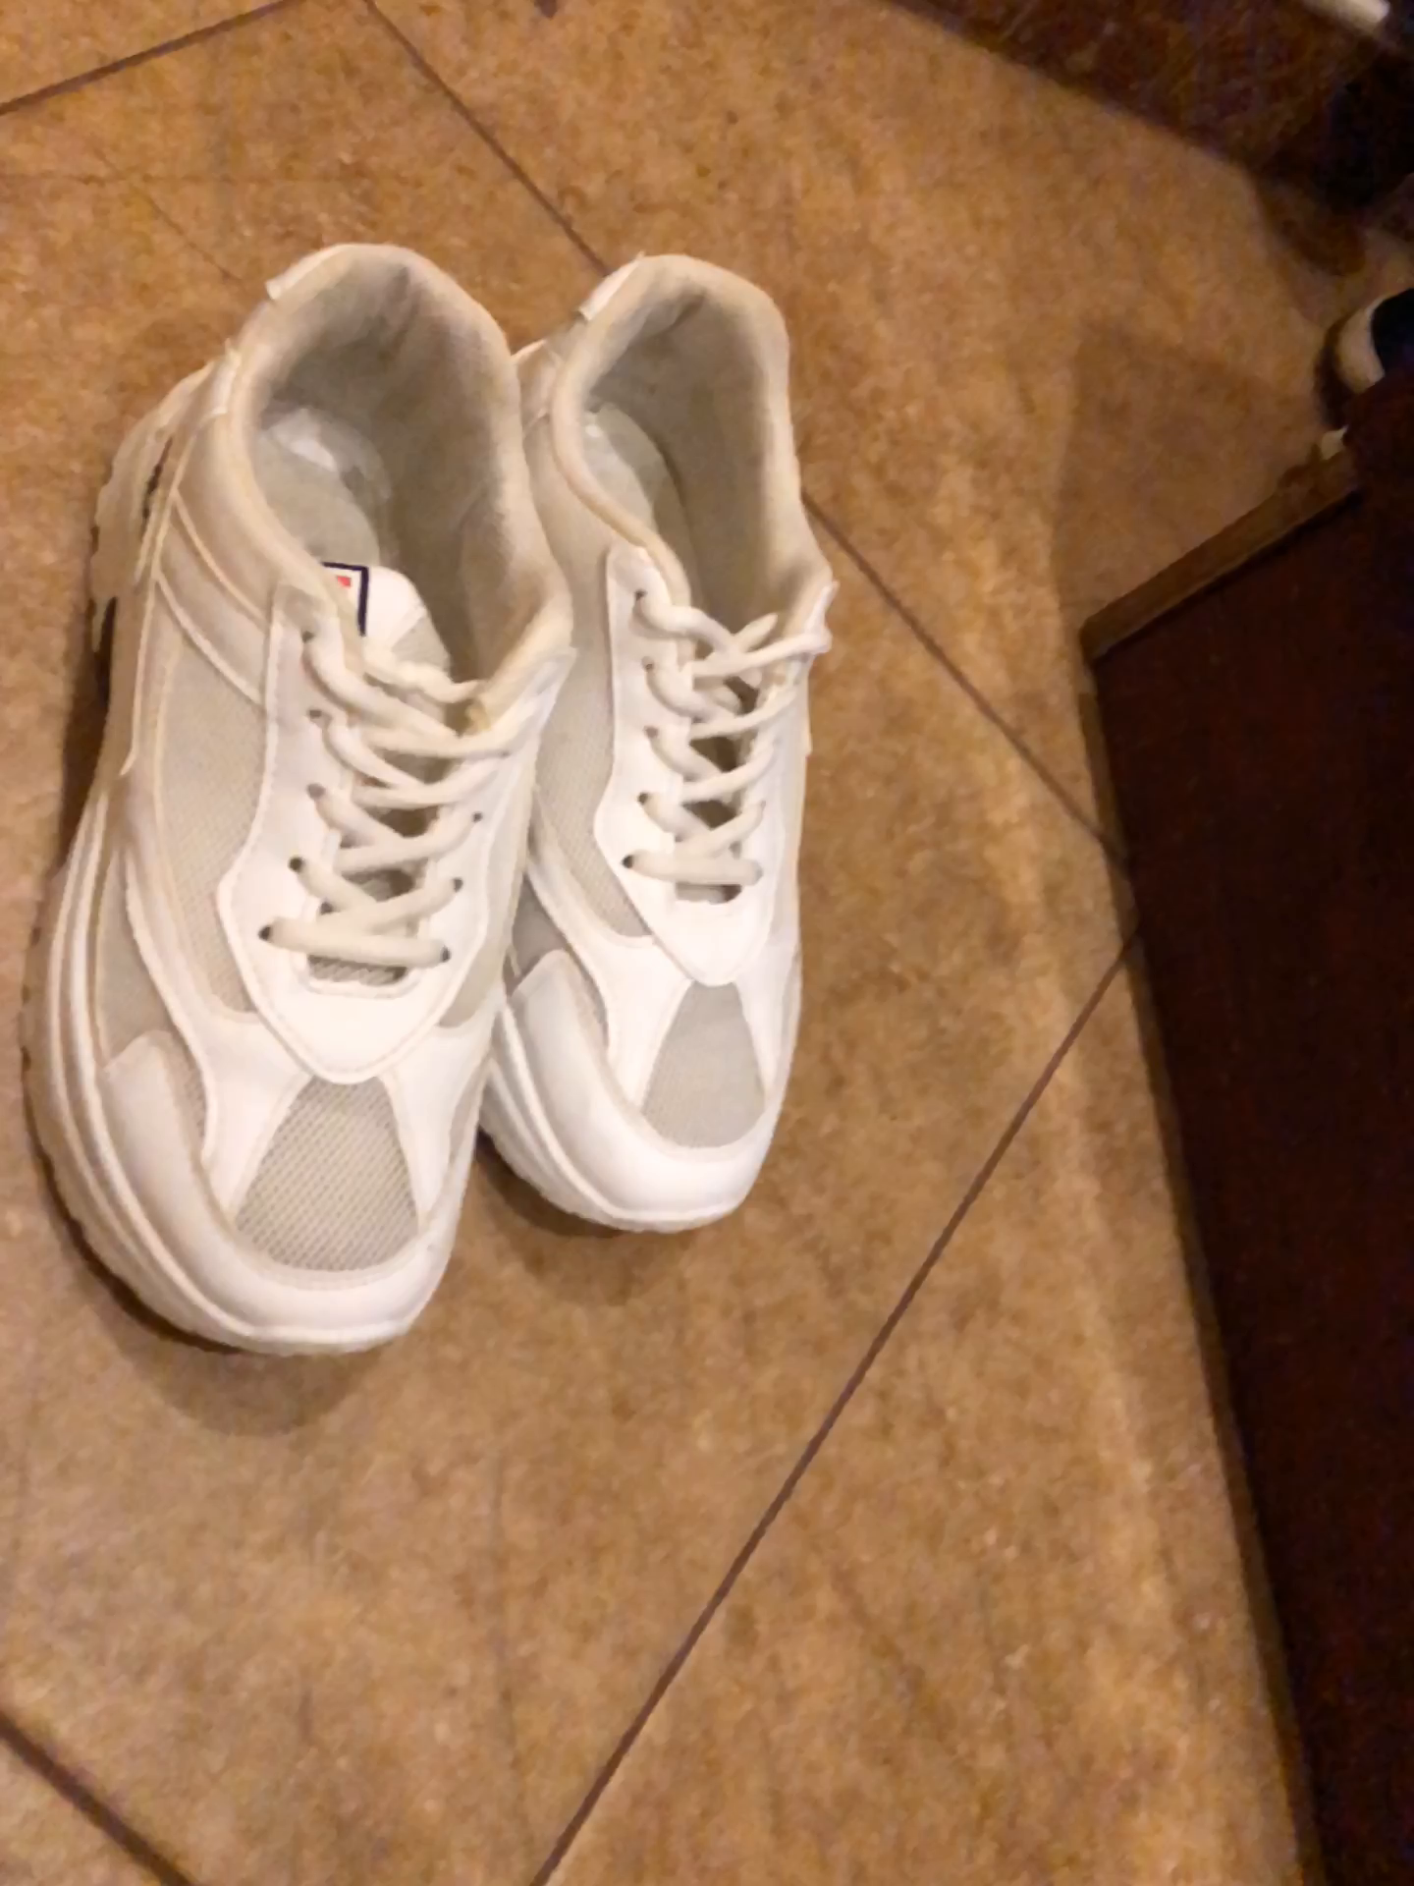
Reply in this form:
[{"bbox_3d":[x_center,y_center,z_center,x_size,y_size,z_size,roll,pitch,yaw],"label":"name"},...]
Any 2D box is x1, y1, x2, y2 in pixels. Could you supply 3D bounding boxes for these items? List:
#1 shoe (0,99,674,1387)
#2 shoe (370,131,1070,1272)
[{"bbox_3d":[-0.093,-0.034,0.346,0.110,0.110,0.240,5,69,-30],"label":"shoe"},{"bbox_3d":[-0.008,-0.053,0.402,0.110,0.110,0.250,3,70,-31],"label":"shoe"}]
